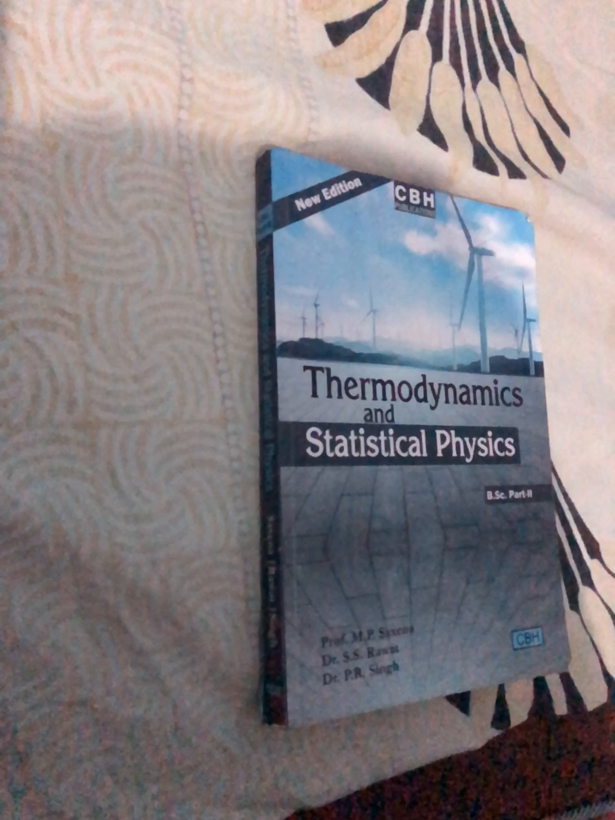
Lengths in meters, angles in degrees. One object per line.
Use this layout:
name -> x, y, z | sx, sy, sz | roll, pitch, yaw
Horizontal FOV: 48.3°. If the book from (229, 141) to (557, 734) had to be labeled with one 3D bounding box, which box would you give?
book -> 0.047, 0.011, 0.333 | 0.171, 0.030, 0.240 | 2, 86, -30
